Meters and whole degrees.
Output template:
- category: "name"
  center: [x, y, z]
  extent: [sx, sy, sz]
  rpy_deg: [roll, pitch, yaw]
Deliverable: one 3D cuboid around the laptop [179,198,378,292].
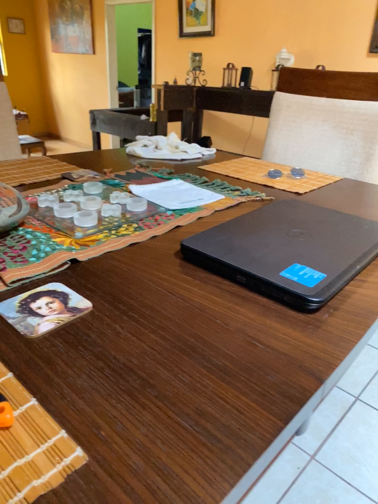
- category: "laptop"
  center: [0.190, -0.037, 0.716]
  extent: [0.248, 0.001, 0.353]
  rpy_deg: [22, 31, 36]
